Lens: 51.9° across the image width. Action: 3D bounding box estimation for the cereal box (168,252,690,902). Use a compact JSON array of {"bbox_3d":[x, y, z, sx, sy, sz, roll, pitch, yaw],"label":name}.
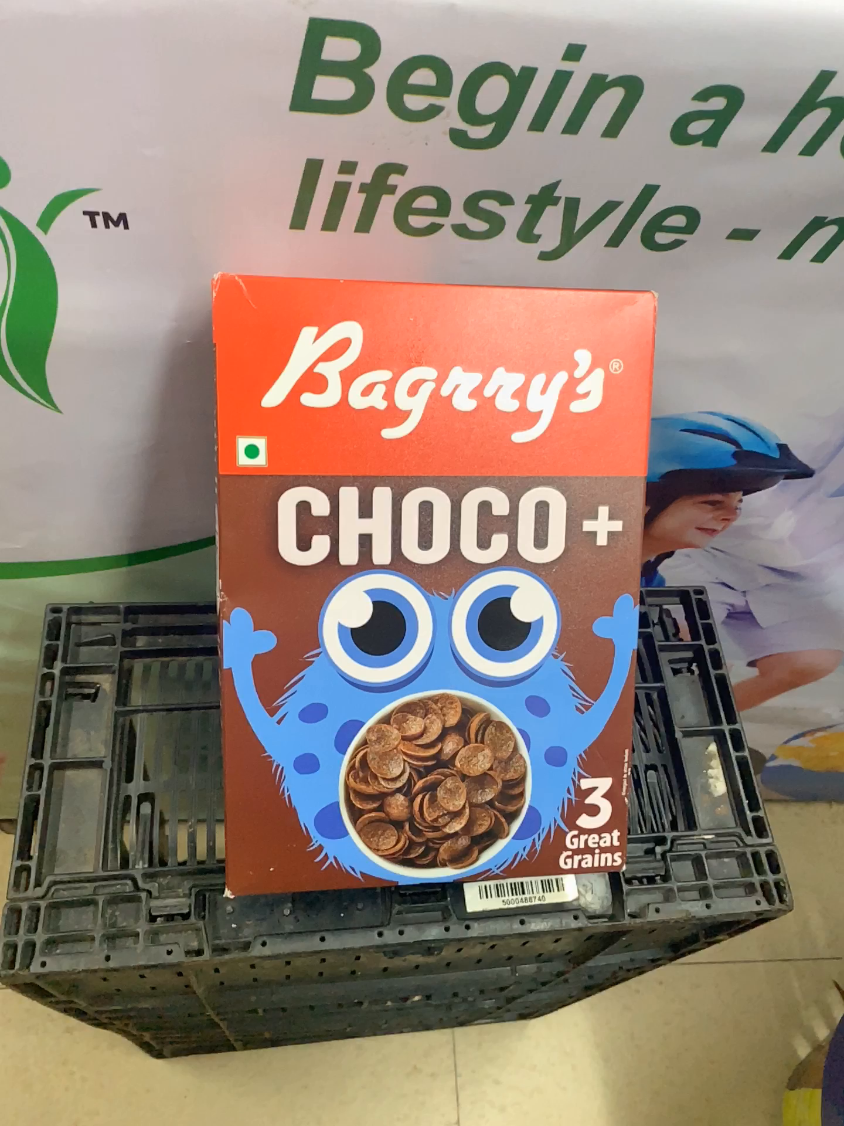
[{"bbox_3d":[-0.002,0.005,0.369,0.190,0.080,0.240,0,99,-9],"label":"cereal box"}]
